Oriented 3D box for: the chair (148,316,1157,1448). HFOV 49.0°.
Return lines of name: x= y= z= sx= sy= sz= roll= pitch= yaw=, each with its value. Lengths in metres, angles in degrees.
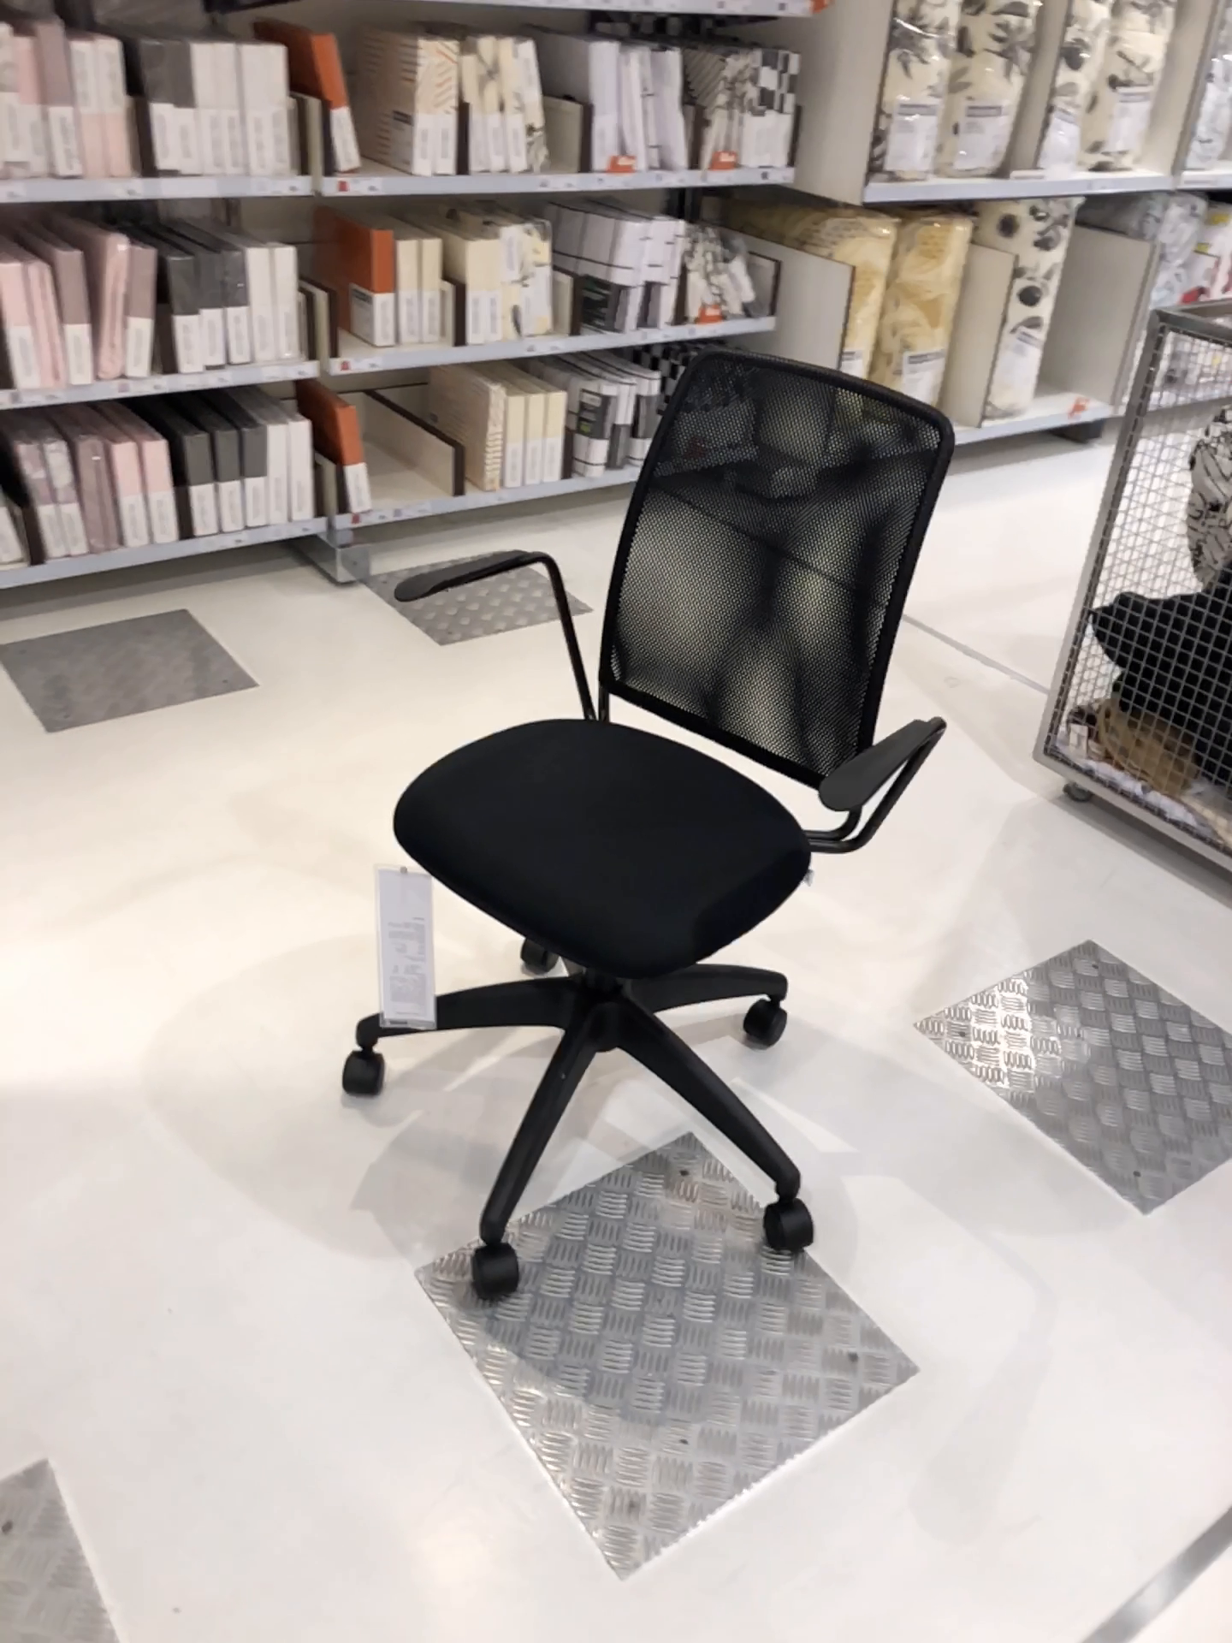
chair: x=0.033 y=-0.010 z=1.449 sx=0.632 sy=0.813 sz=0.694 roll=27 pitch=39 yaw=31
